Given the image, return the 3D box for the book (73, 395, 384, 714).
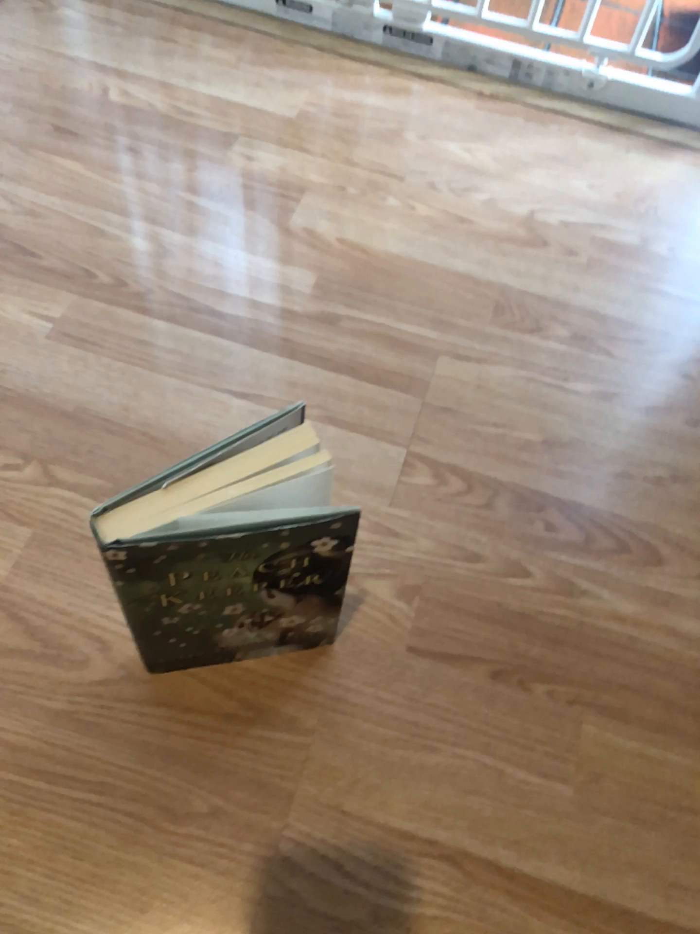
[{"bbox_3d":[-0.078,0.069,0.517,0.150,0.220,0.080,-18,62,-18],"label":"book"}]
